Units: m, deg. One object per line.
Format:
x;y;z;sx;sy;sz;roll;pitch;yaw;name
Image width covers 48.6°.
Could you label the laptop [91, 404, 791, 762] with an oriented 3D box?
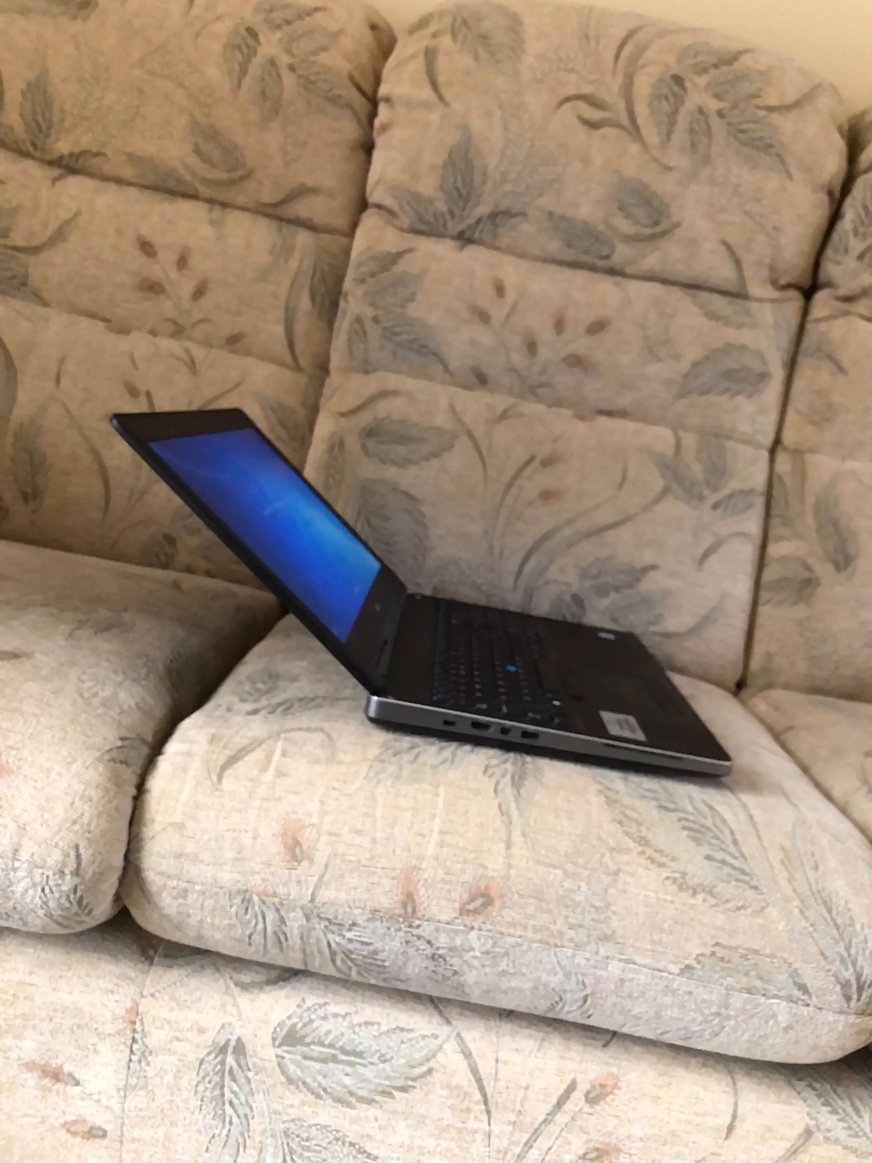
-0.004;-0.026;0.820;0.451;0.157;0.356;10;13;0;laptop
